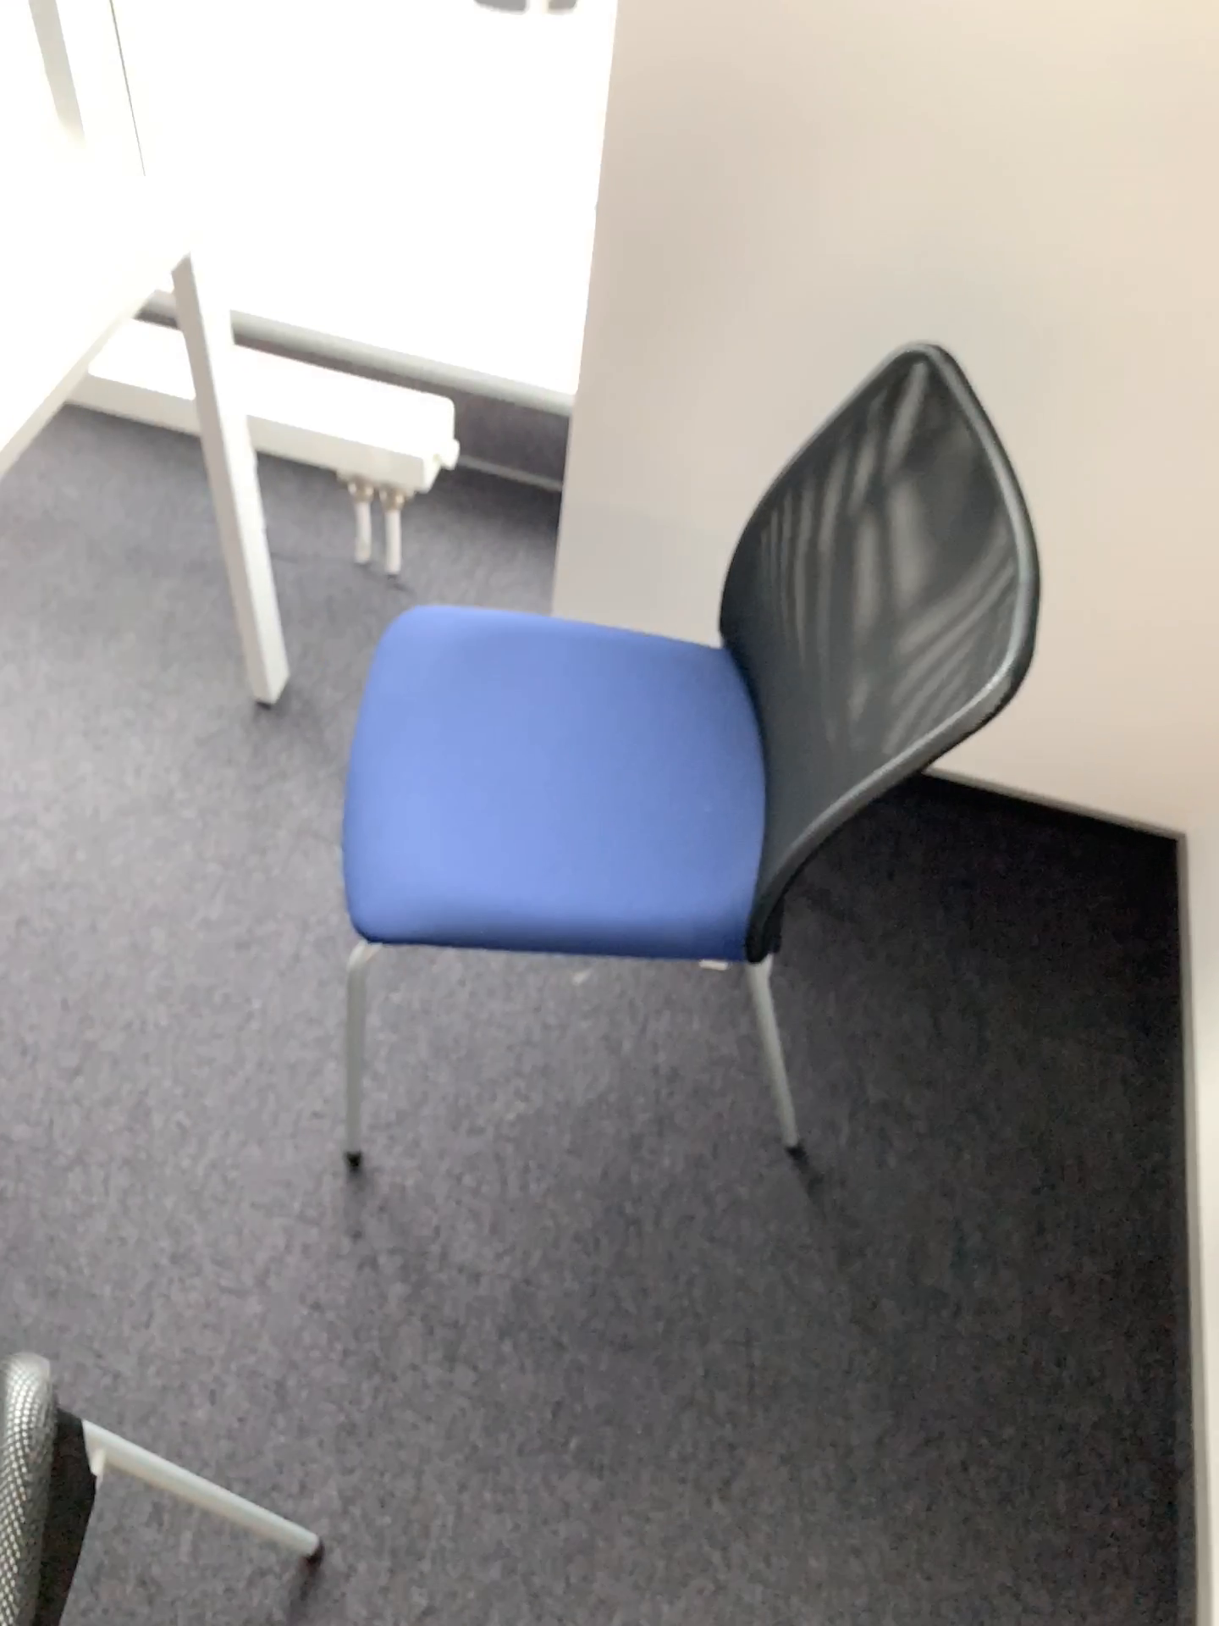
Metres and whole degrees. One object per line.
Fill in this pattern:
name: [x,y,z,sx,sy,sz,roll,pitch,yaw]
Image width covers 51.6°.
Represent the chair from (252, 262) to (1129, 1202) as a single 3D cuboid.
chair: [-0.002,0.000,1.348,0.590,0.897,0.532,1,55,-8]
